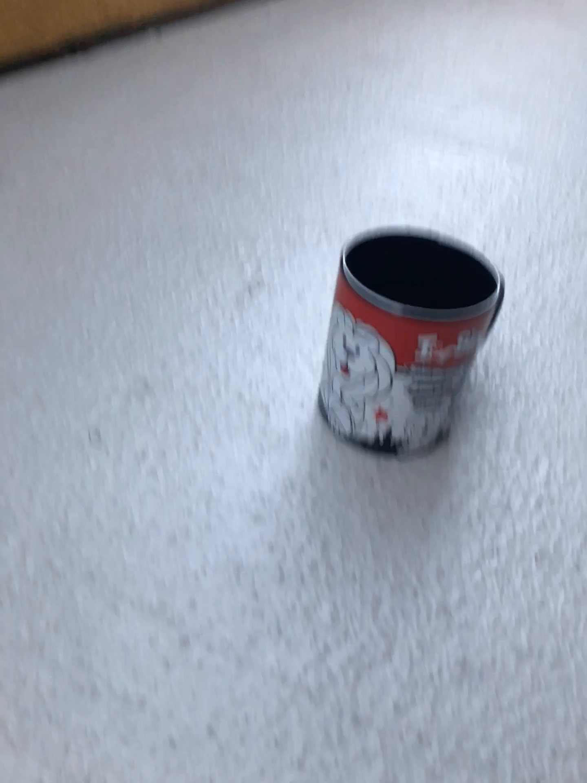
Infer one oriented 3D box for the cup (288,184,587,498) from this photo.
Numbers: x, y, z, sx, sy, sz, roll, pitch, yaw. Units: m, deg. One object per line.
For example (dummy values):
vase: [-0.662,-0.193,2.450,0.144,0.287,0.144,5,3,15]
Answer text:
cup: [0.078,-0.032,0.352,0.130,0.109,0.080,-24,51,-31]
